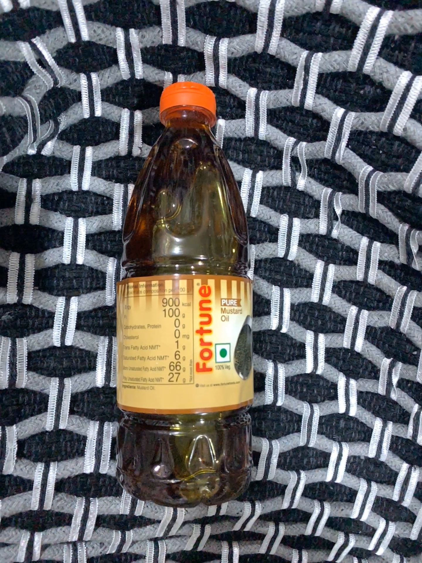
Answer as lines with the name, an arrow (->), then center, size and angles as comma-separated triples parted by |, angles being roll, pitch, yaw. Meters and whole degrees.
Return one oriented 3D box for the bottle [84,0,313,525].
bottle -> -0.006, -0.012, 0.228 | 0.080, 0.080, 0.220 | -7, 79, 30
